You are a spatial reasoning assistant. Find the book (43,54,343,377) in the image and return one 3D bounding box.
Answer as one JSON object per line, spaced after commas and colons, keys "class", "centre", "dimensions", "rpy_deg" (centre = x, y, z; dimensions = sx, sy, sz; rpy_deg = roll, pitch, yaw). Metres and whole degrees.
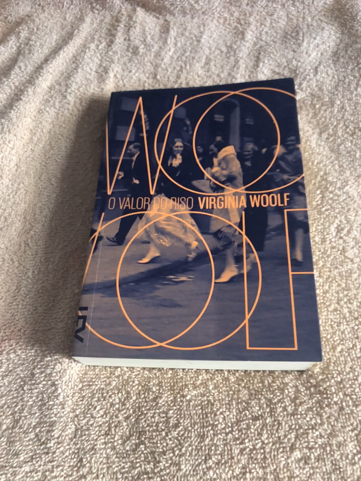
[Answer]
{"class": "book", "centre": [0.009, -0.021, 0.247], "dimensions": [0.140, 0.050, 0.190], "rpy_deg": [1, 68, 4]}
